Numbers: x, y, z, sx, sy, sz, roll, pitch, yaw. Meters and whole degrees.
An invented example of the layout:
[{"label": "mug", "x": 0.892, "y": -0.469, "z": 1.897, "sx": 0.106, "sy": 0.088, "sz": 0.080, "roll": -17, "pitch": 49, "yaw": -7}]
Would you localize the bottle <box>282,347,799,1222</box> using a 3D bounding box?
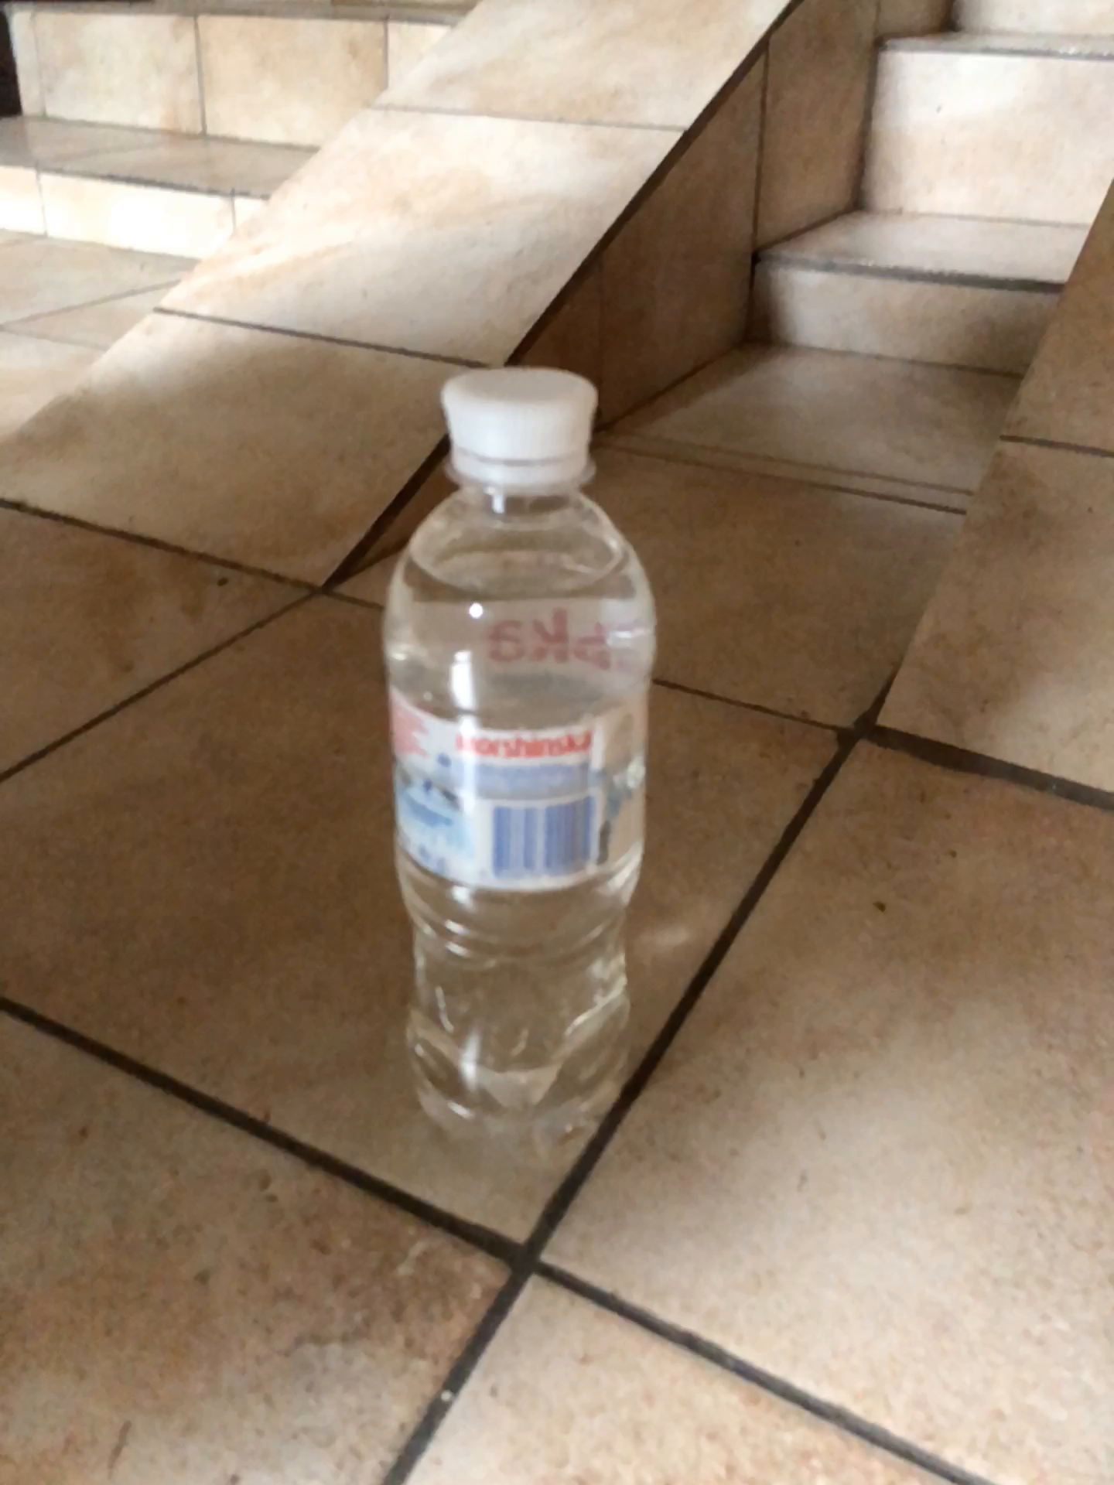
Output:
[{"label": "bottle", "x": -0.005, "y": 0.013, "z": 0.318, "sx": 0.080, "sy": 0.199, "sz": 0.080, "roll": 0, "pitch": 32, "yaw": 0}]
